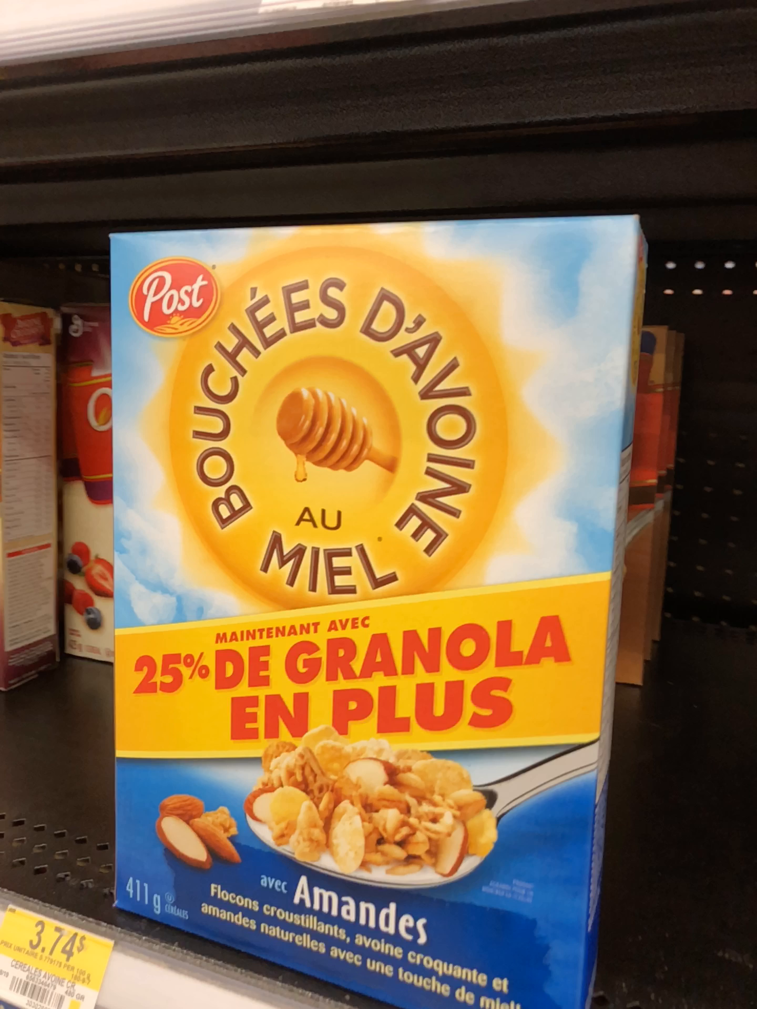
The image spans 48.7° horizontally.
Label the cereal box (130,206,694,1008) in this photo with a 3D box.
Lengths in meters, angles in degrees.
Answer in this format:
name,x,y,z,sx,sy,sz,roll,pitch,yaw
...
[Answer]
name,x,y,z,sx,sy,sz,roll,pitch,yaw
cereal box,0.002,0.038,0.314,0.190,0.269,0.060,6,9,24
